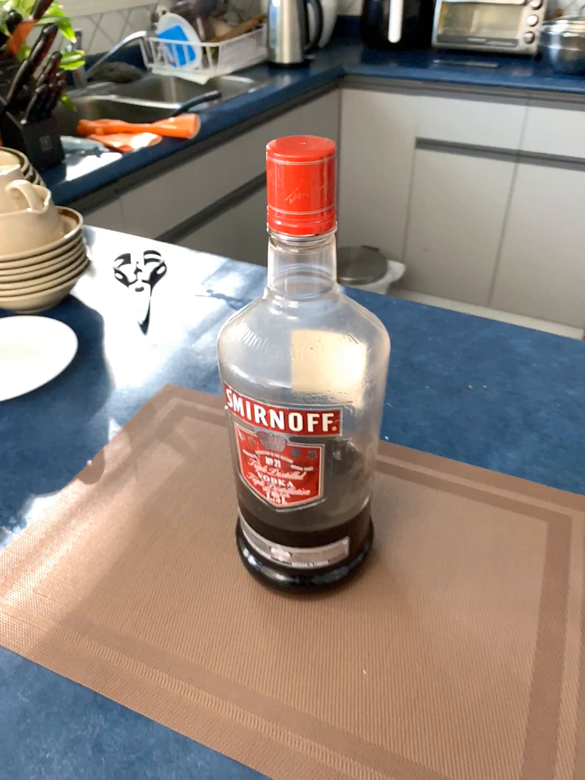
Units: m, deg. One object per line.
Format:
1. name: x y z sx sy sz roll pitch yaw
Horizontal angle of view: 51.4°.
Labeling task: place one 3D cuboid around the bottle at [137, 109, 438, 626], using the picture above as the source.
1. bottle: 0.006 0.000 0.406 0.120 0.317 0.111 -1 37 1
